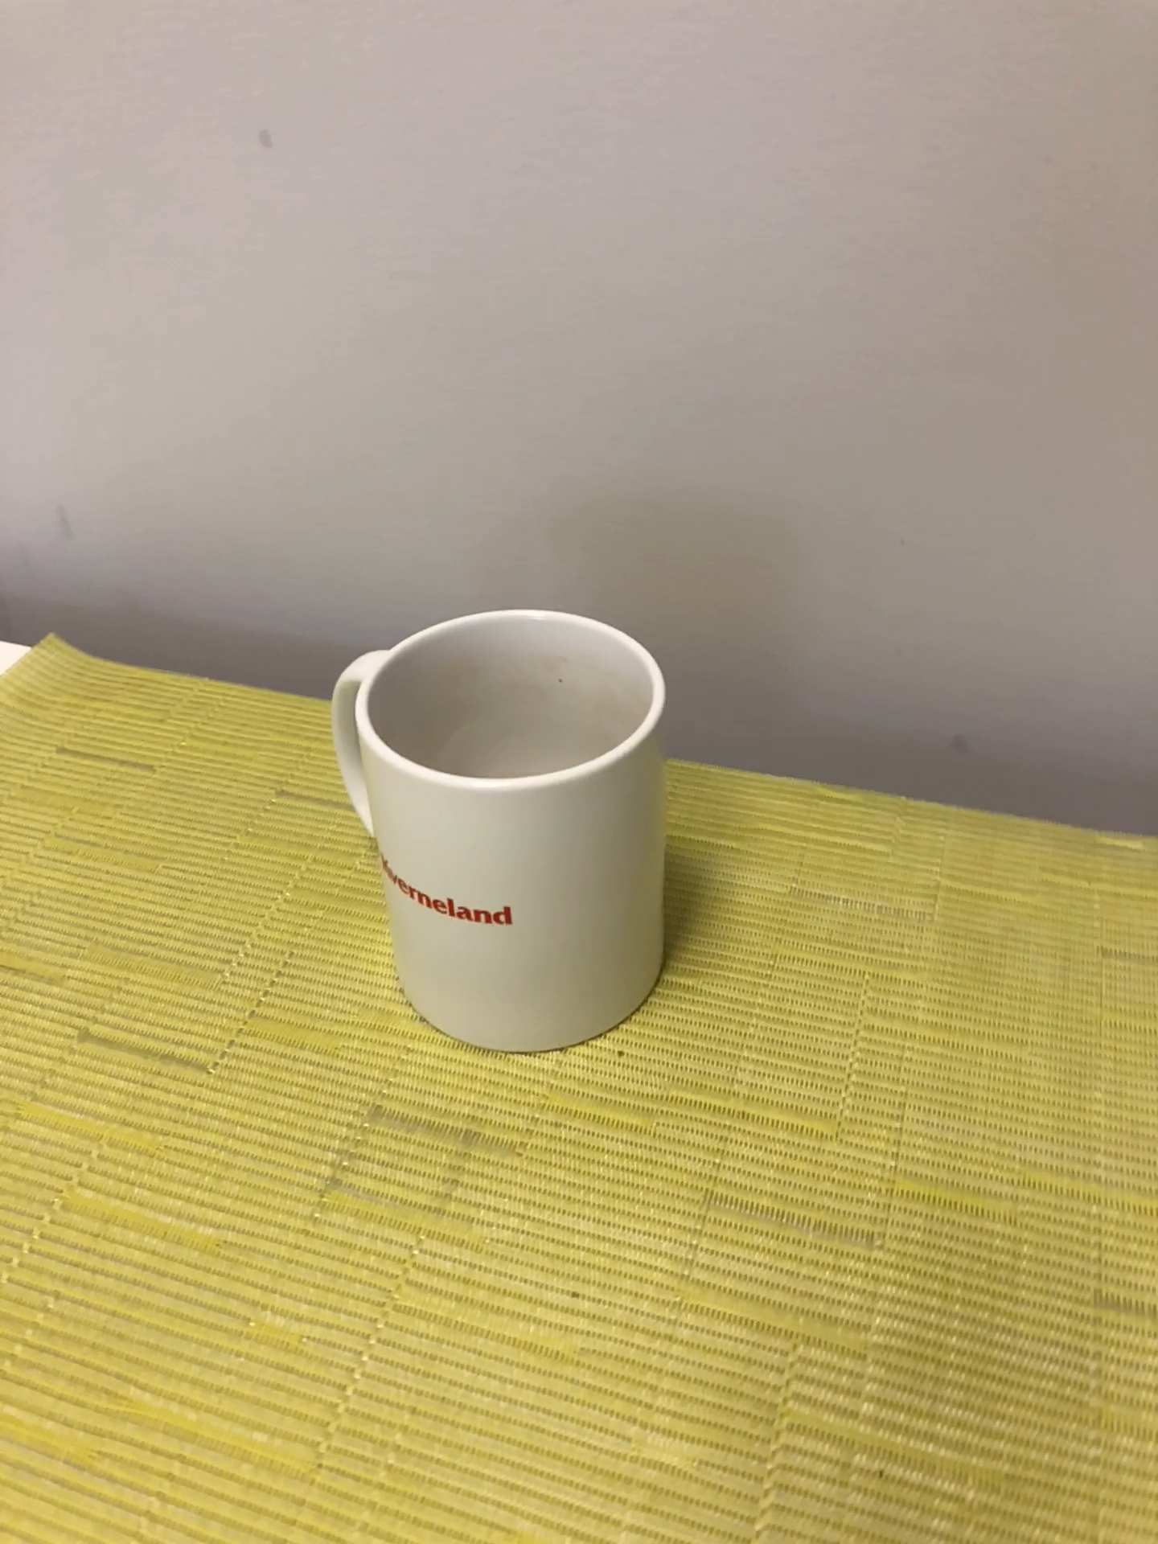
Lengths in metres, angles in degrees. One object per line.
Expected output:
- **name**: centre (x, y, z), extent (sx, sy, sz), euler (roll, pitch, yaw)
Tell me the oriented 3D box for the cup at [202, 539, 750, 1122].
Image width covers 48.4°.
- **cup**: centre (-0.027, 0.010, 0.368), extent (0.114, 0.100, 0.089), euler (25, 43, 31)
